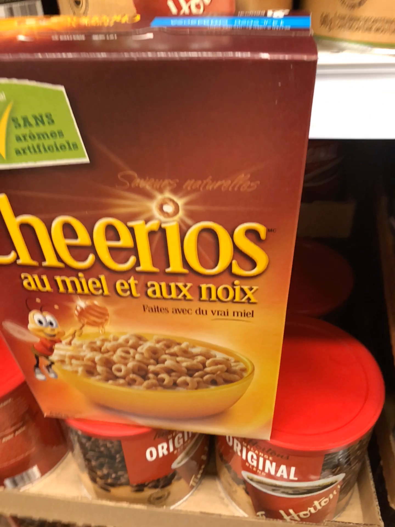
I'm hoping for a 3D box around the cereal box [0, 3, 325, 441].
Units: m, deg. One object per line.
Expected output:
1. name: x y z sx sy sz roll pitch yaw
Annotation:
1. cereal box: -0.042 0.005 0.287 0.200 0.289 0.060 3 42 8
